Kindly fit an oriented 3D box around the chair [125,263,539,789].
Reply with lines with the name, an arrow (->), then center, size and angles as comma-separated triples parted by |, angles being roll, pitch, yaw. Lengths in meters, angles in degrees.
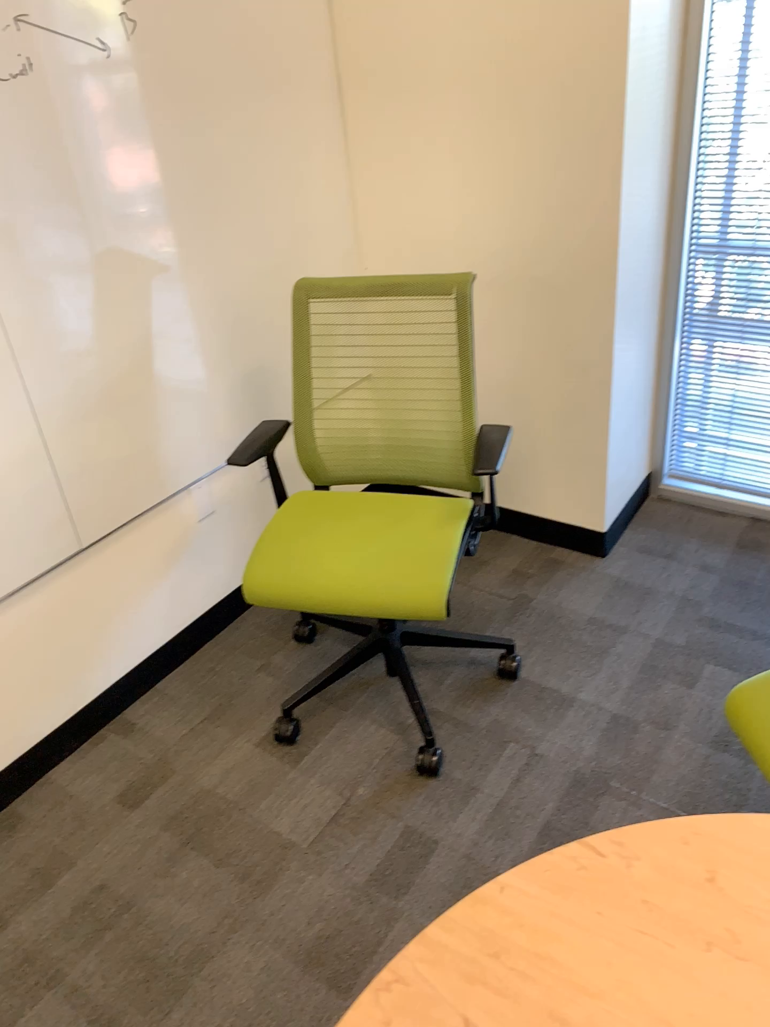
chair -> -0.009, -0.022, 2.033 | 0.701, 0.994, 0.844 | 4, 33, 17
